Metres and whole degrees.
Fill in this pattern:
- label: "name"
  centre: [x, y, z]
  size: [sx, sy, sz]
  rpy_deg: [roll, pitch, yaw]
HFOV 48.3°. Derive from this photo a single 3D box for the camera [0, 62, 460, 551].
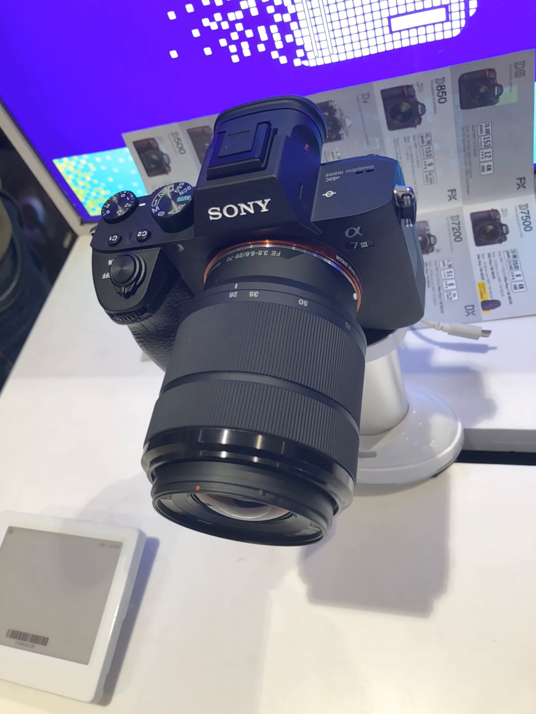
- label: "camera"
  centre: [0.002, -0.011, 0.222]
  size: [0.120, 0.109, 0.128]
  rpy_deg: [-4, 54, 16]
